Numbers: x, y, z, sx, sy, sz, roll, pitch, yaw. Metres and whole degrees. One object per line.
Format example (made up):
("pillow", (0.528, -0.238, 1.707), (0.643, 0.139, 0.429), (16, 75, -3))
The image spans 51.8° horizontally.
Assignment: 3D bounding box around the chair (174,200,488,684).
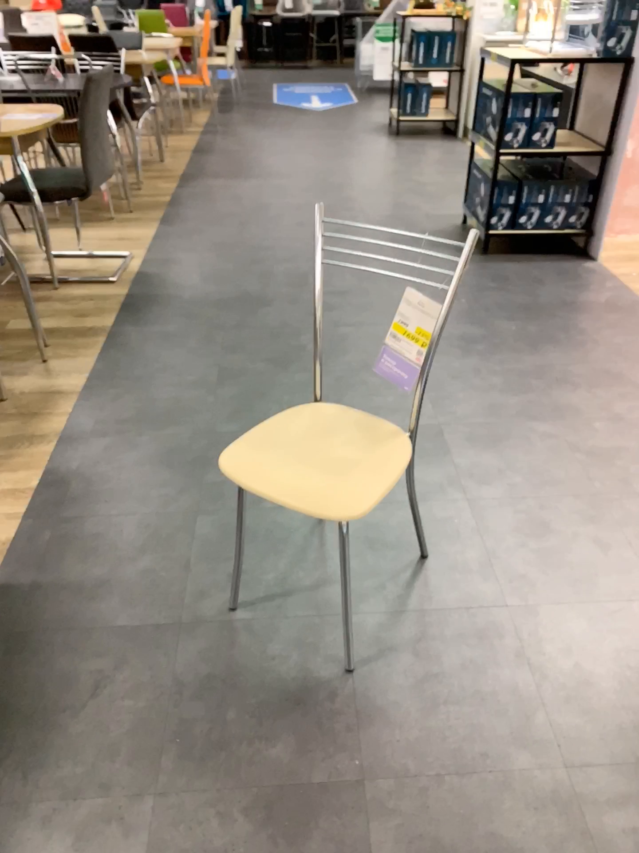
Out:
("chair", (0.042, 0.033, 1.501), (0.410, 0.904, 0.482), (19, 38, 26))
